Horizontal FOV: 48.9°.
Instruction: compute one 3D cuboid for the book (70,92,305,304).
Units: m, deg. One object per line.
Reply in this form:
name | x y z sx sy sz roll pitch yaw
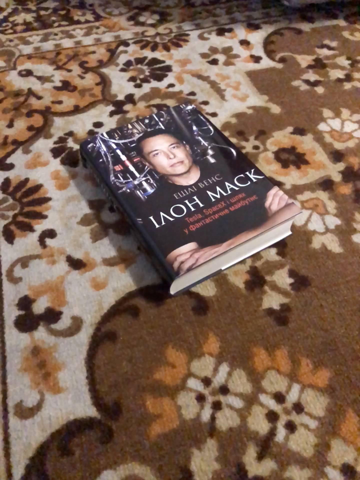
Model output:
book | -0.001 -0.071 0.503 0.184 0.050 0.251 -25 59 -17
